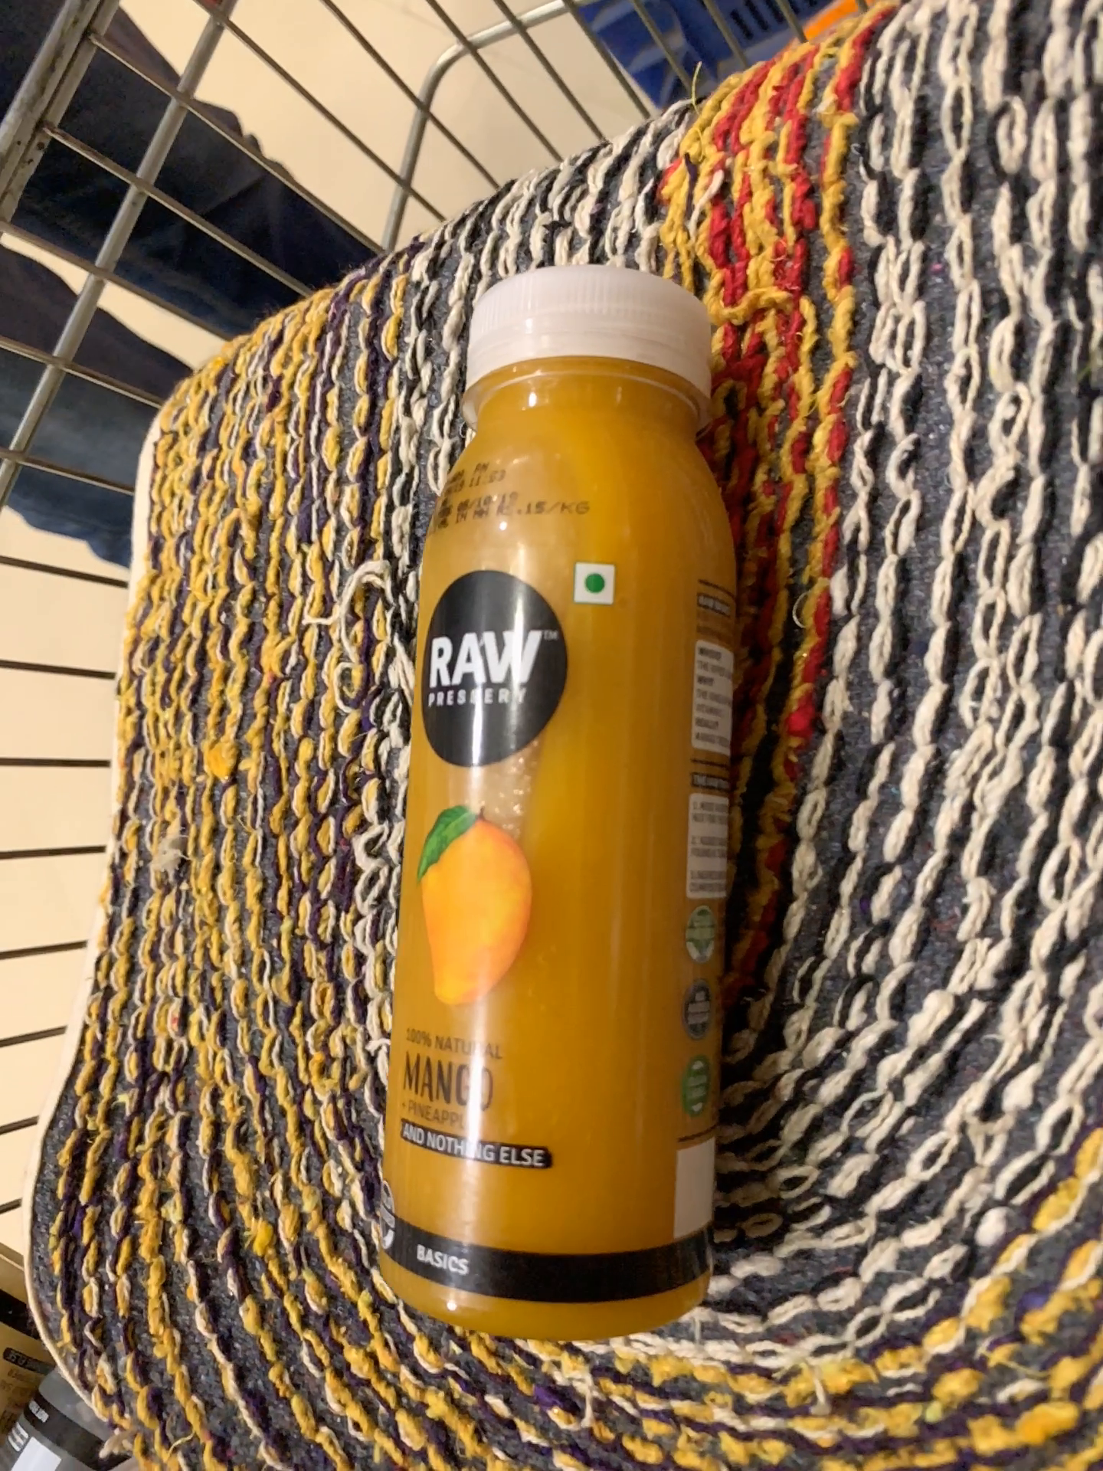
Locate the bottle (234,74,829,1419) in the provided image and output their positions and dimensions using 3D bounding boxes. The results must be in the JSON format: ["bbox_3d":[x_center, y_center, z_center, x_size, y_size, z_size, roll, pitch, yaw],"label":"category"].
[{"bbox_3d":[0.000,-0.001,0.181,0.060,0.050,0.170,0,81,37],"label":"bottle"}]
